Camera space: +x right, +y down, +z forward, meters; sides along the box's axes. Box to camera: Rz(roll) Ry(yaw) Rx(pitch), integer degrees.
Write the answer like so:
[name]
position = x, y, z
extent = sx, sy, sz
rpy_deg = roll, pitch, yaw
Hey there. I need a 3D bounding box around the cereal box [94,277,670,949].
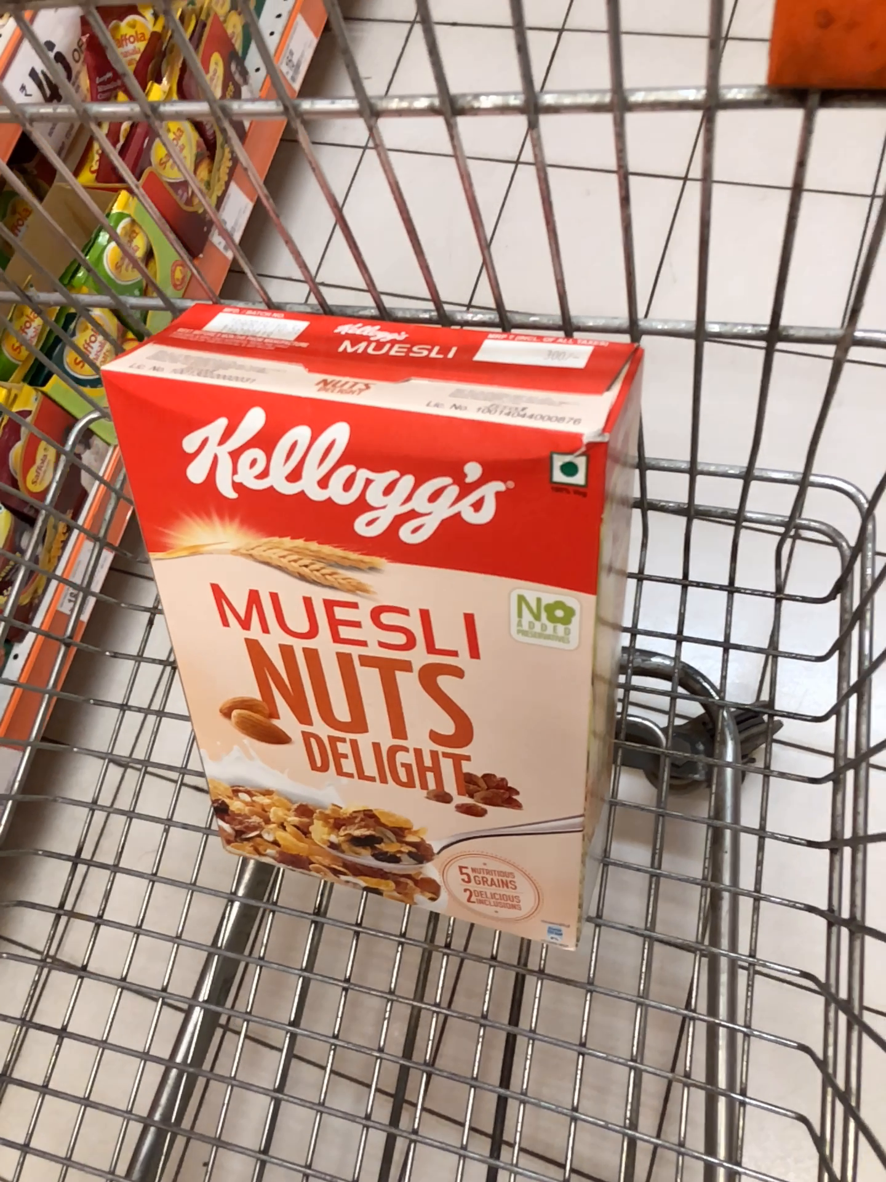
[cereal box]
position = -0.017, 0.015, 0.399
extent = 0.180, 0.249, 0.070
rpy_deg = 11, 37, 17
